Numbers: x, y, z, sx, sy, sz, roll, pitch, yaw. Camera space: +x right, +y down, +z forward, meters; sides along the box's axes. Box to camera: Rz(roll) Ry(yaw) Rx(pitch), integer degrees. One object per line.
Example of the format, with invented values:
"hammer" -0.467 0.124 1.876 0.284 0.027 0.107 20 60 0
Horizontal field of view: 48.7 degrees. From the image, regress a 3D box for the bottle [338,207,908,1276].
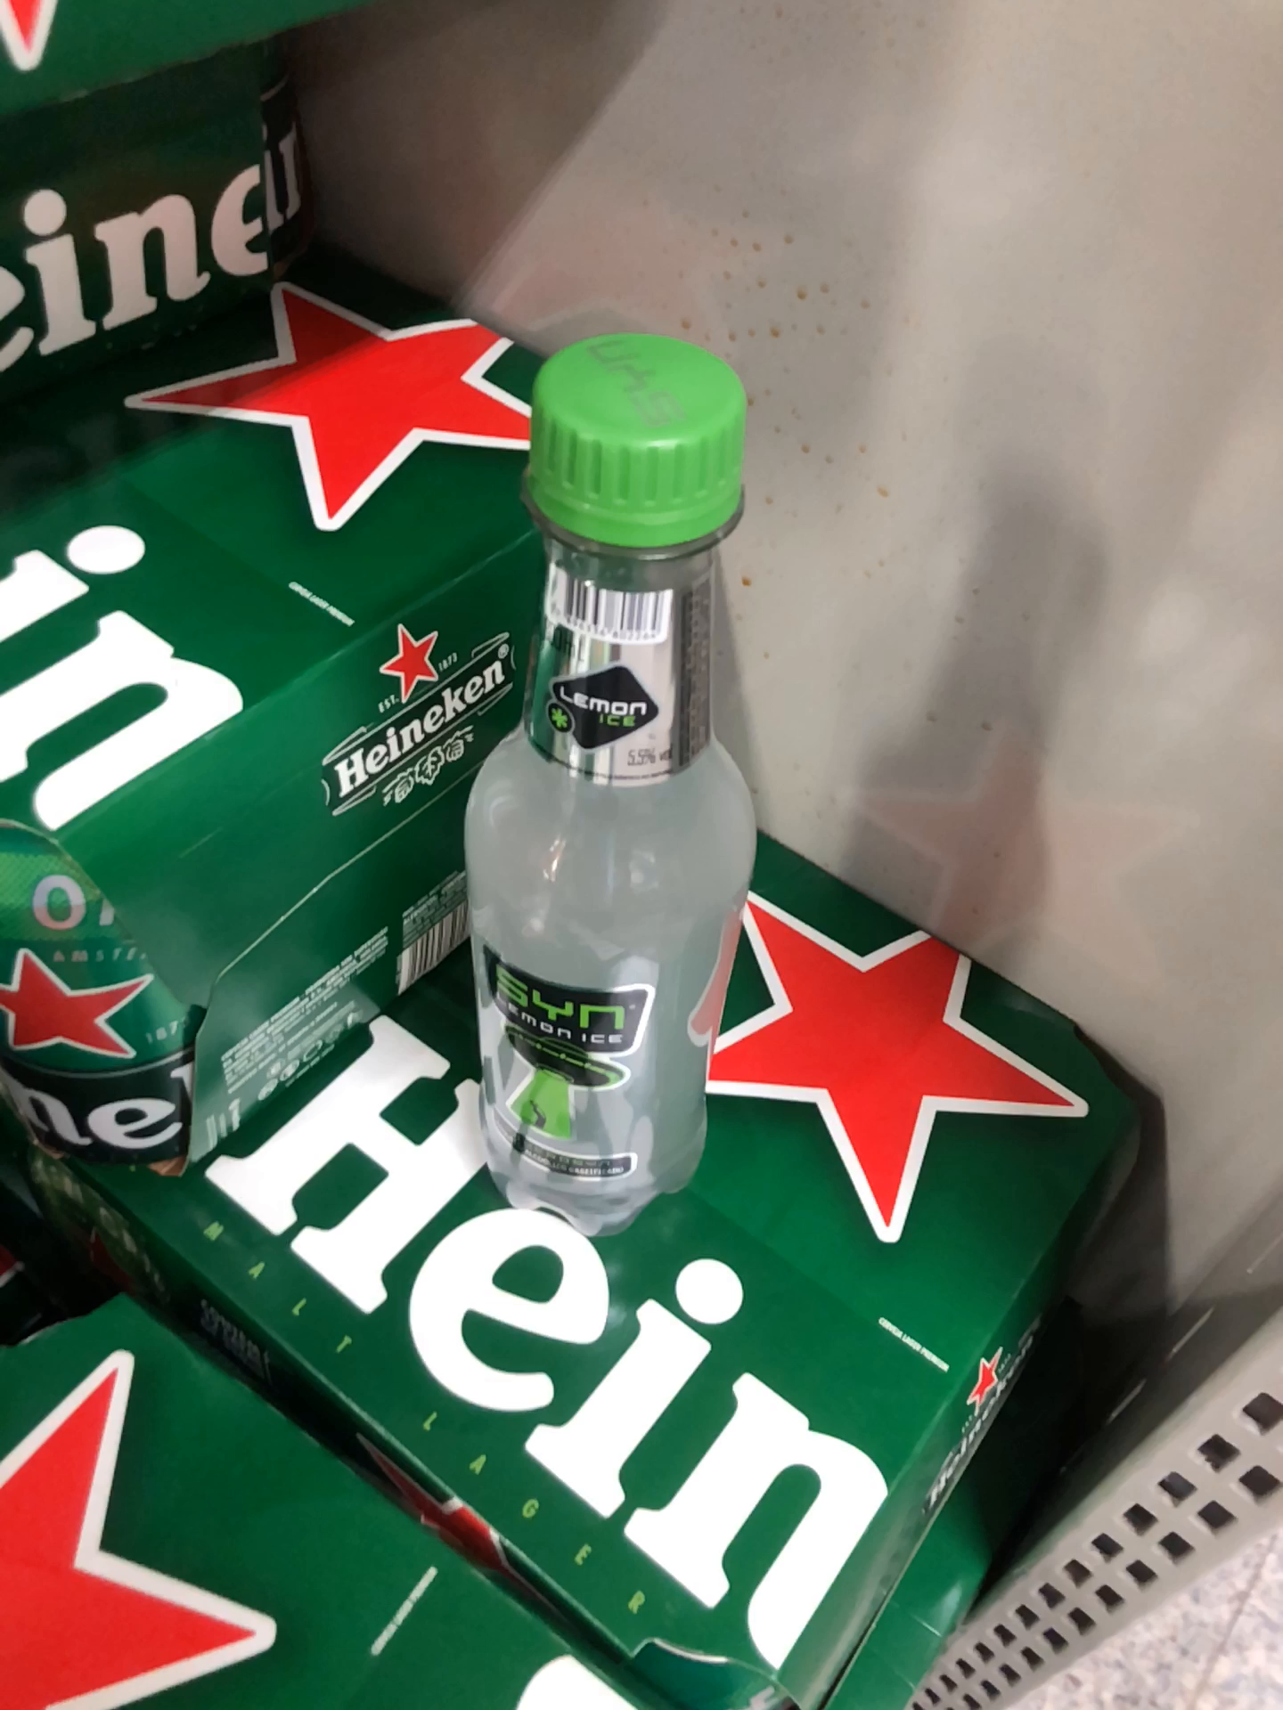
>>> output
"bottle" -0.007 -0.001 0.272 0.060 0.209 0.060 3 49 -3
